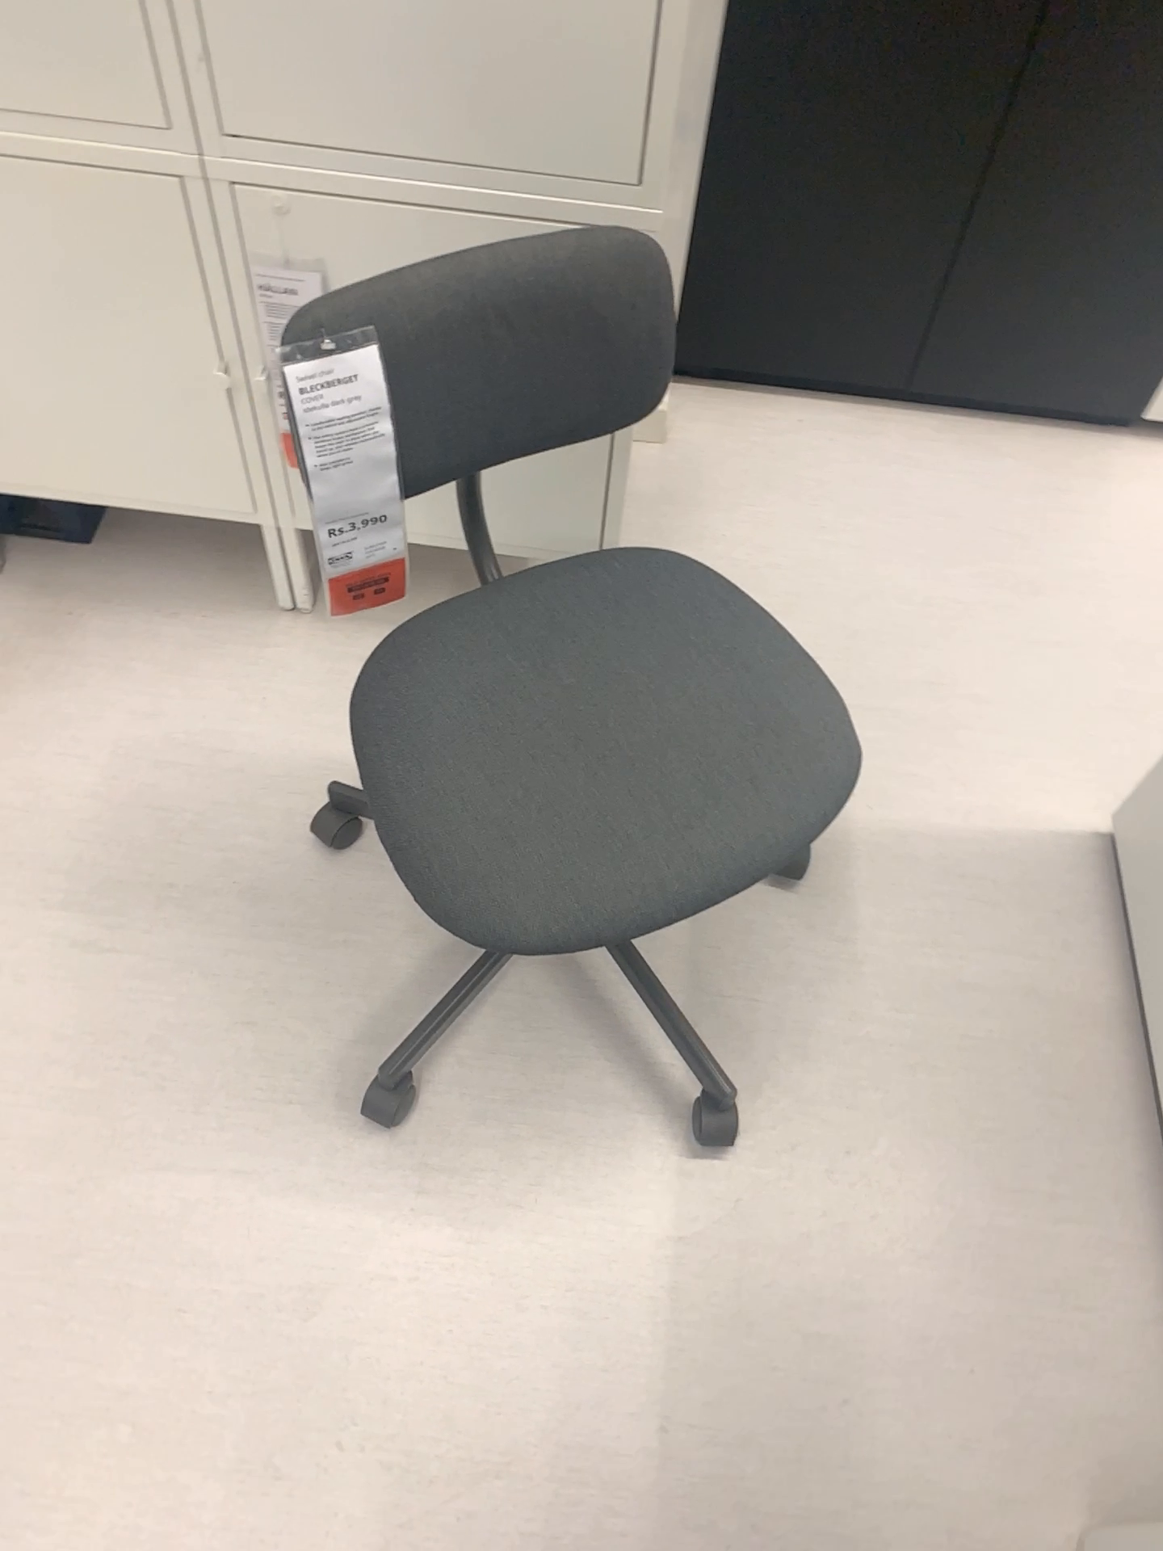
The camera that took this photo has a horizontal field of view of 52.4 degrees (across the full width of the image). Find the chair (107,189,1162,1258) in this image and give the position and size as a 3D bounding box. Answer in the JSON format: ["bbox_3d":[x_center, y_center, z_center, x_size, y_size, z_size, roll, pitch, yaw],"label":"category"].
[{"bbox_3d":[0.000,-0.038,1.188,0.720,0.678,0.712,-10,58,-11],"label":"chair"}]
